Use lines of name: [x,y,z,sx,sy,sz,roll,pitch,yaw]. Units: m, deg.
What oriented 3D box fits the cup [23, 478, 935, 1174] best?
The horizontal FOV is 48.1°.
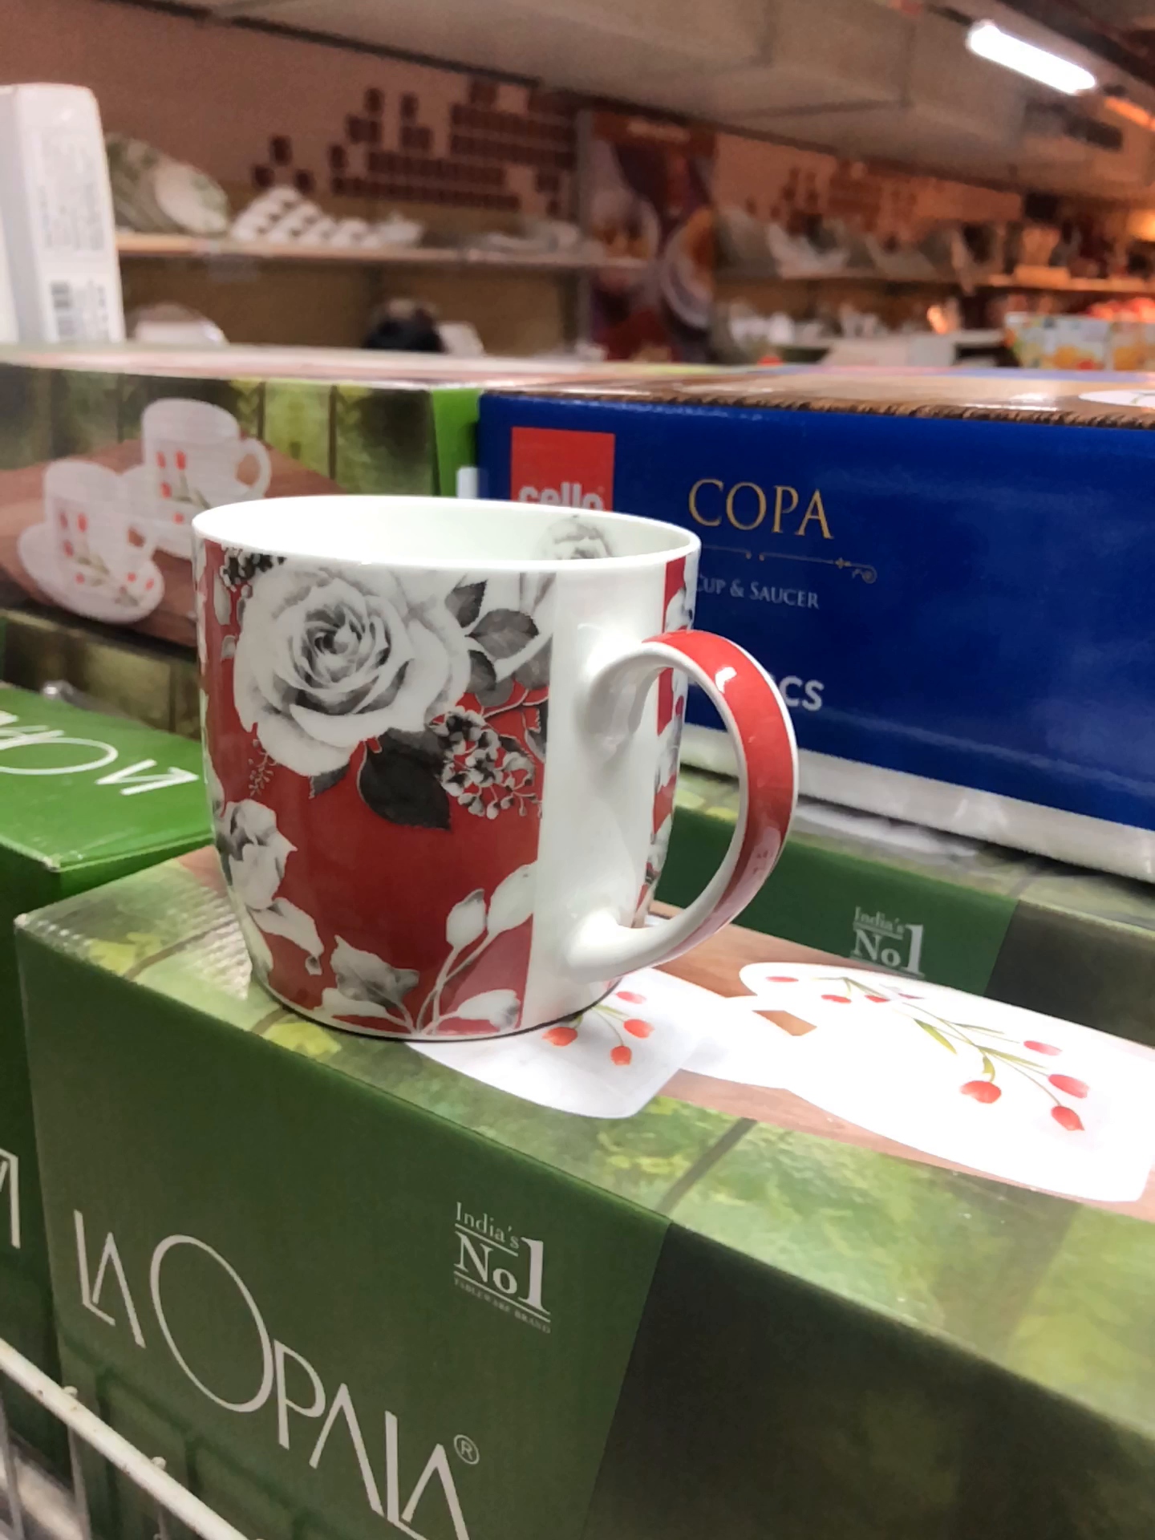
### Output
cup: [-0.017,-0.006,0.211,0.110,0.070,0.090,16,21,36]
